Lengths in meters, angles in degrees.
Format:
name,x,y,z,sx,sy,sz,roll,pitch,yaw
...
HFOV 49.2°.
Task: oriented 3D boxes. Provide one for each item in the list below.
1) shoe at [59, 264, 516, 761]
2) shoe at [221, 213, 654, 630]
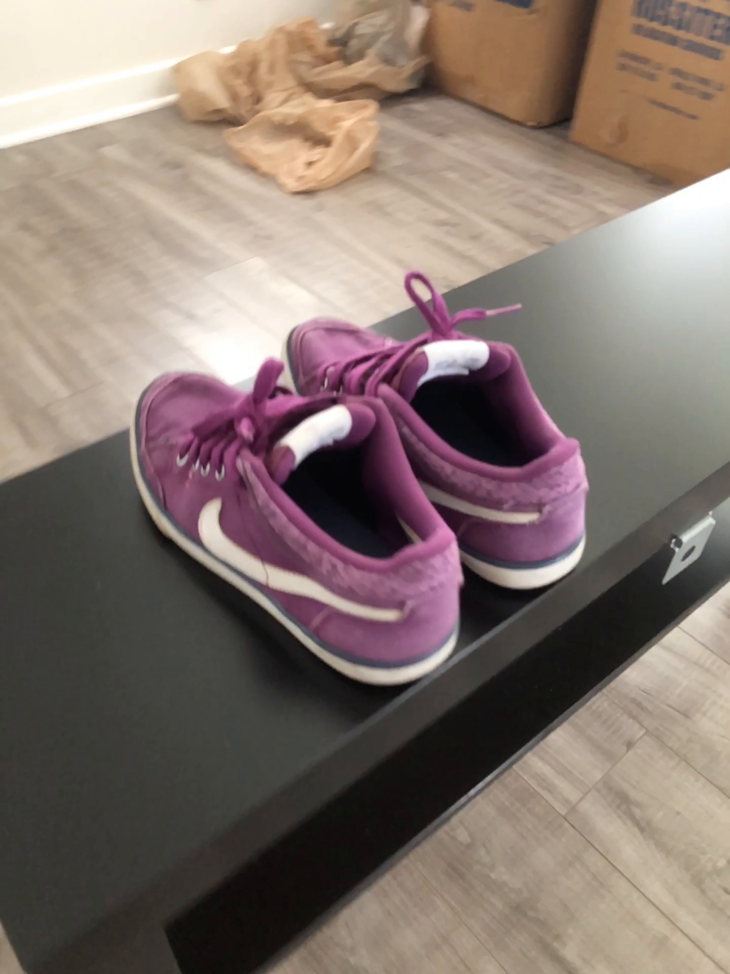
name,x,y,z,sx,sy,sz,roll,pitch,yaw
shoe,-0.053,-0.005,0.416,0.100,0.100,0.251,-26,51,-26
shoe,0.025,-0.052,0.460,0.100,0.100,0.241,-26,51,-26
